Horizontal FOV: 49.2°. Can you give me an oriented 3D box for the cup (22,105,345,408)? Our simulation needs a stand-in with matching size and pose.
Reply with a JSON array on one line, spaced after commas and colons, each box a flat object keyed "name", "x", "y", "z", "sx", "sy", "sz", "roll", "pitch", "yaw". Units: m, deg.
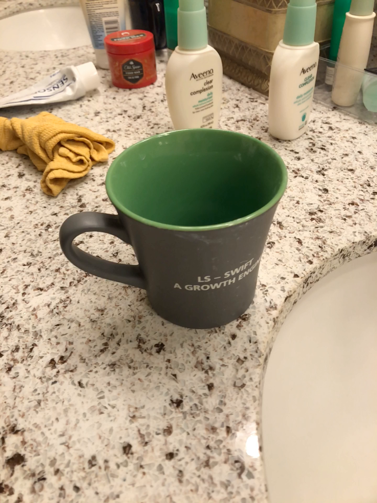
[{"name": "cup", "x": -0.007, "y": -0.002, "z": 0.249, "sx": 0.140, "sy": 0.109, "sz": 0.101, "roll": -17, "pitch": 44, "yaw": -14}]
